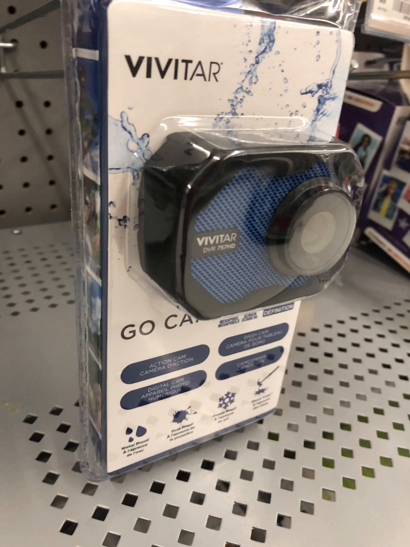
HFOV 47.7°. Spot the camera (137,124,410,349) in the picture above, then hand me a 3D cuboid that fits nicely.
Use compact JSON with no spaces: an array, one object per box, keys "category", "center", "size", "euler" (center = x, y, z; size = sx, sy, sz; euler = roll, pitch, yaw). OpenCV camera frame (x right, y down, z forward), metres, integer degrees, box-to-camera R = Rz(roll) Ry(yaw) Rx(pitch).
[{"category":"camera","center":[0.020,-0.017,0.144],"size":[0.070,0.050,0.040],"euler":[-11,30,-28]}]
